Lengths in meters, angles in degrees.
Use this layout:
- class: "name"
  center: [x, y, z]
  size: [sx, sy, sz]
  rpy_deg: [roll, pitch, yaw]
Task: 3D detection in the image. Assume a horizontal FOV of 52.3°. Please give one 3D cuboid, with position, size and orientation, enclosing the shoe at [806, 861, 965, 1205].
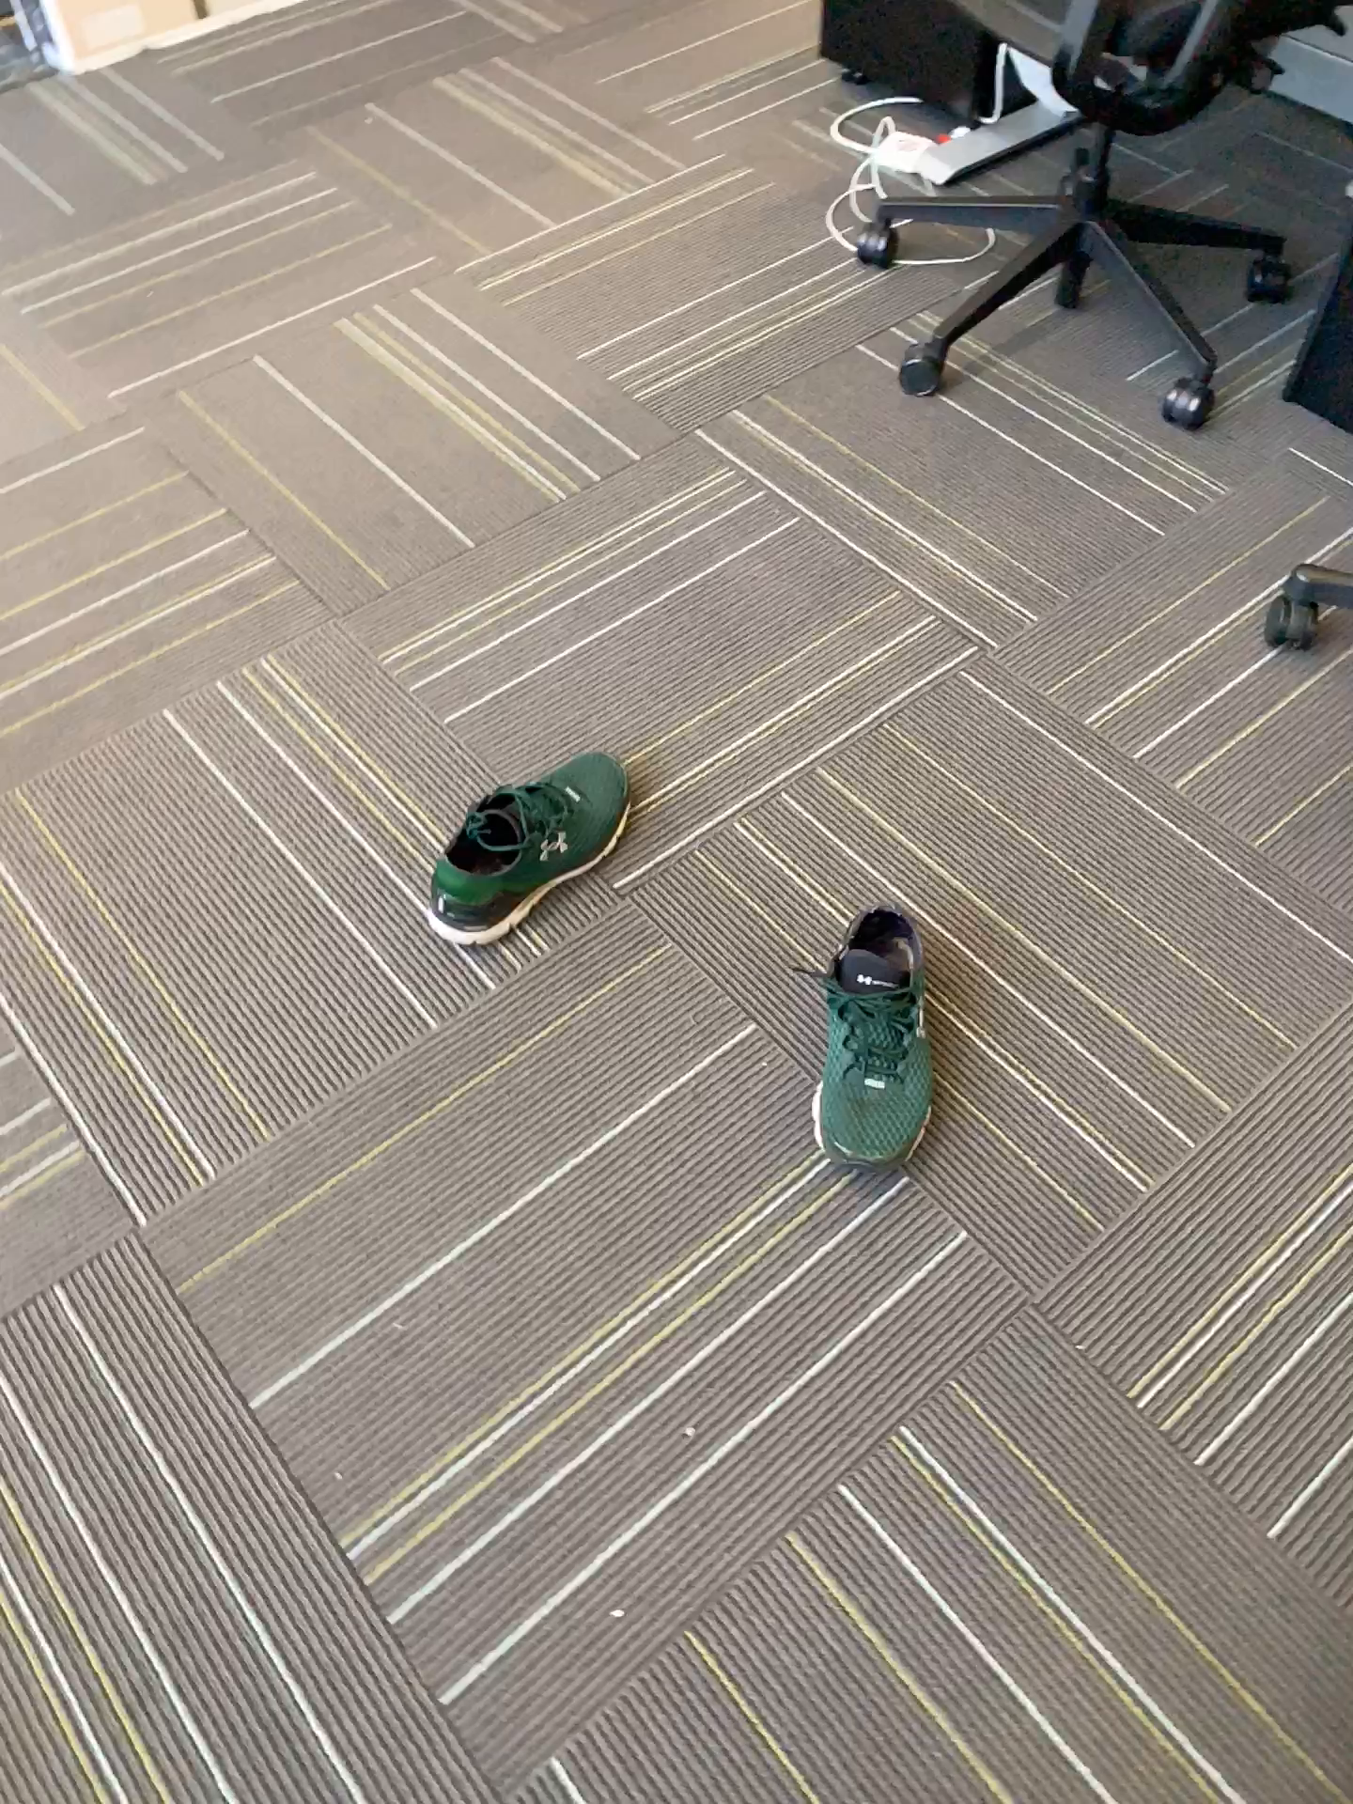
- class: "shoe"
  center: [0.216, 0.129, 1.413]
  size: [0.130, 0.139, 0.311]
  rpy_deg: [6, 54, 5]

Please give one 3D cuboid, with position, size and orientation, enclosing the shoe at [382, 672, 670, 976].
- class: "shoe"
  center: [-0.157, -0.091, 1.531]
  size: [0.130, 0.139, 0.310]
  rpy_deg: [34, 61, 22]
